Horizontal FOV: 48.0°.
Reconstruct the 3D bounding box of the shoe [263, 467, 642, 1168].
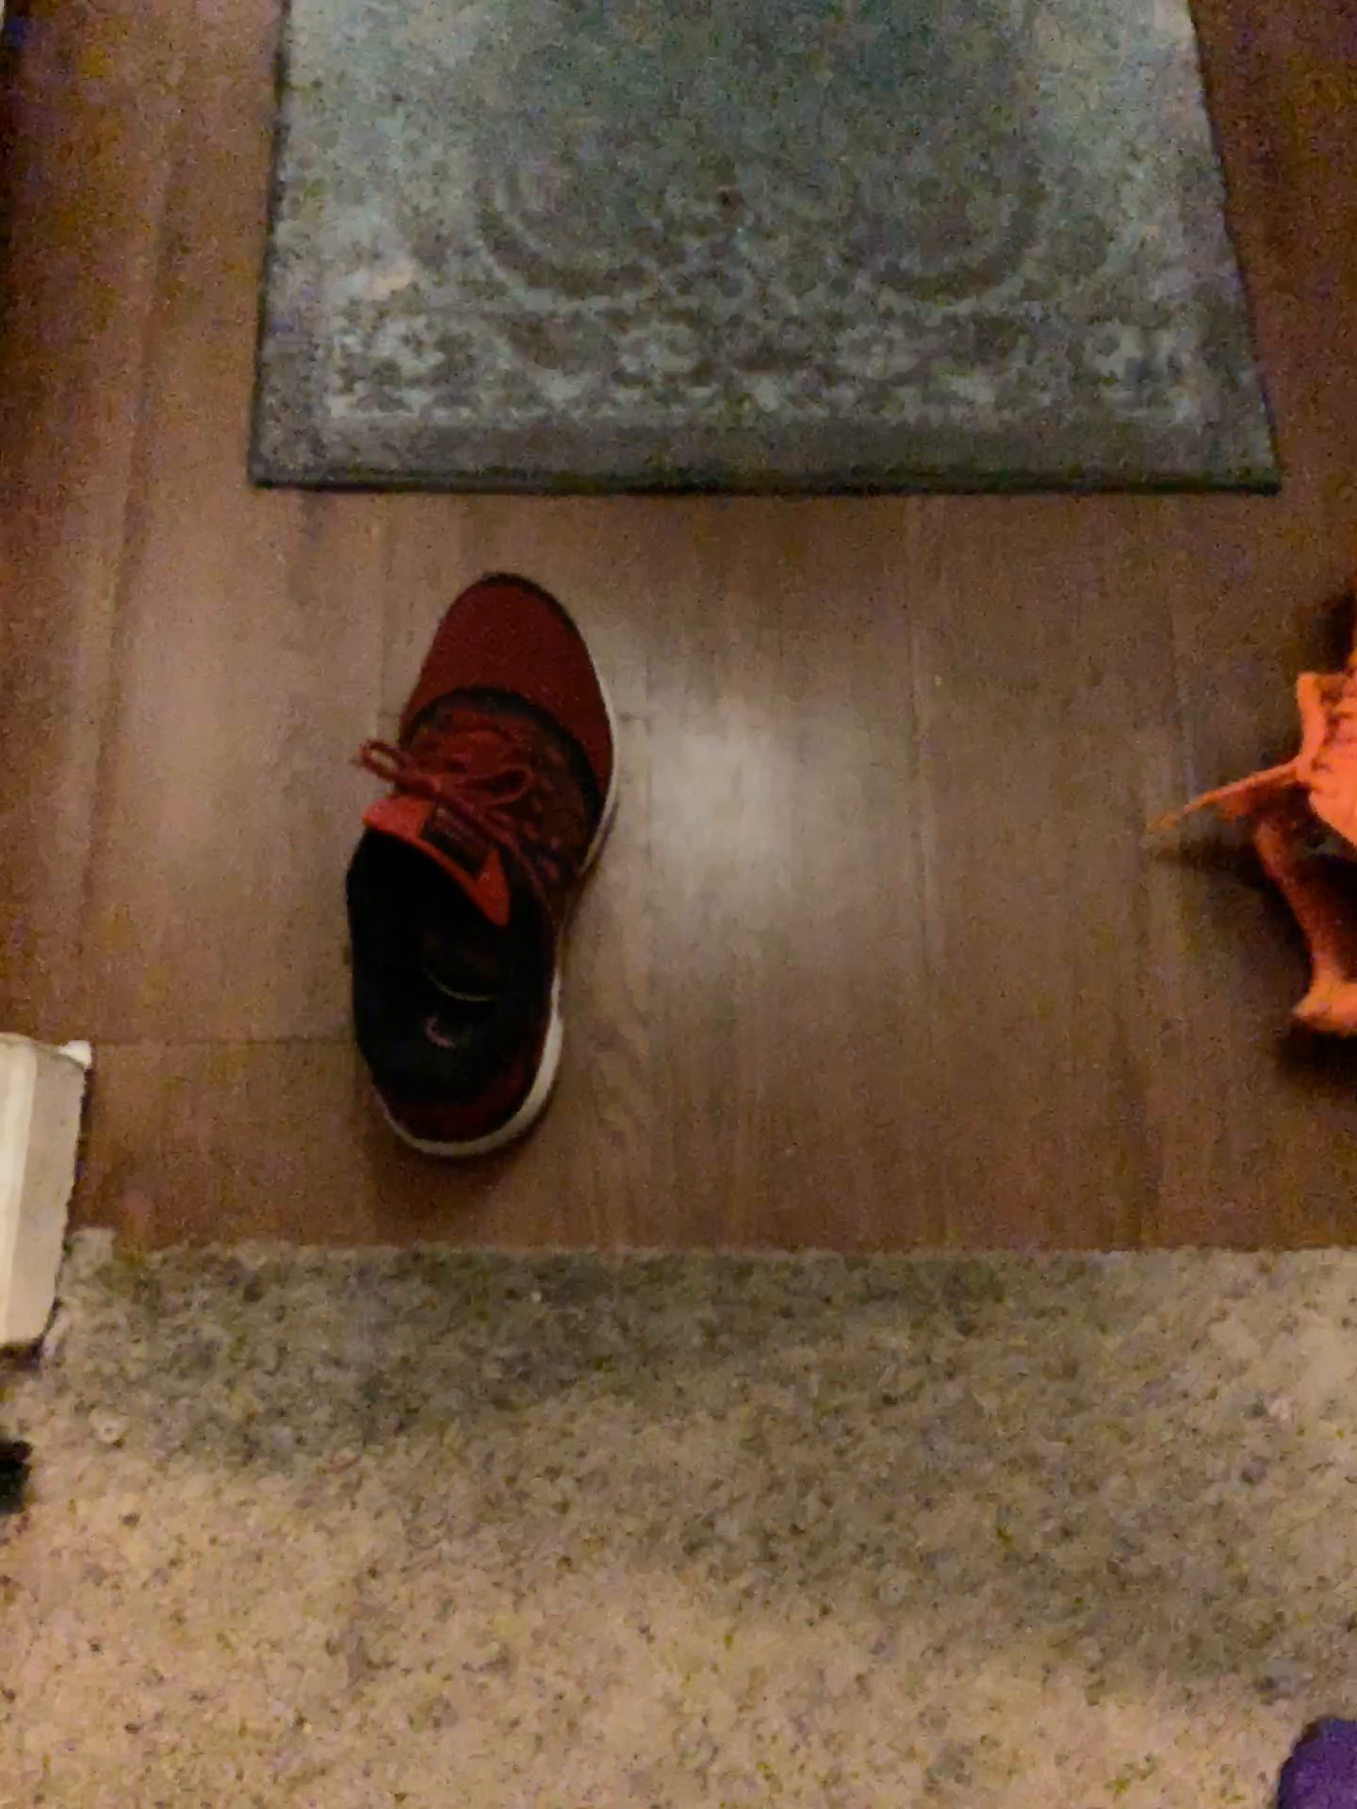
[{"bbox_3d":[-0.098,-0.037,0.741,0.130,0.140,0.300,5,73,-1],"label":"shoe"}]
